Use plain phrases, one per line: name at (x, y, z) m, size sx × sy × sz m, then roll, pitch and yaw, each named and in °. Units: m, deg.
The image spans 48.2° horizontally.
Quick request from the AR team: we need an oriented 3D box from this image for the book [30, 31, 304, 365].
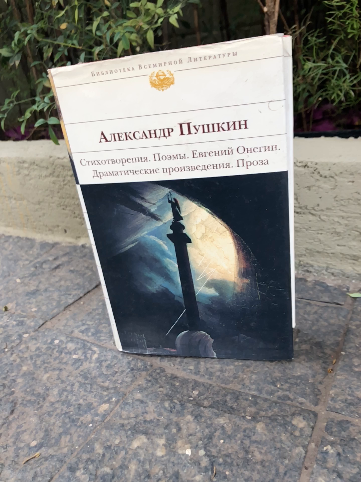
book at (0.003, -0.018, 0.275) m, size 0.150 × 0.204 × 0.050 m, roll -1°, pitch 24°, yaw 13°
